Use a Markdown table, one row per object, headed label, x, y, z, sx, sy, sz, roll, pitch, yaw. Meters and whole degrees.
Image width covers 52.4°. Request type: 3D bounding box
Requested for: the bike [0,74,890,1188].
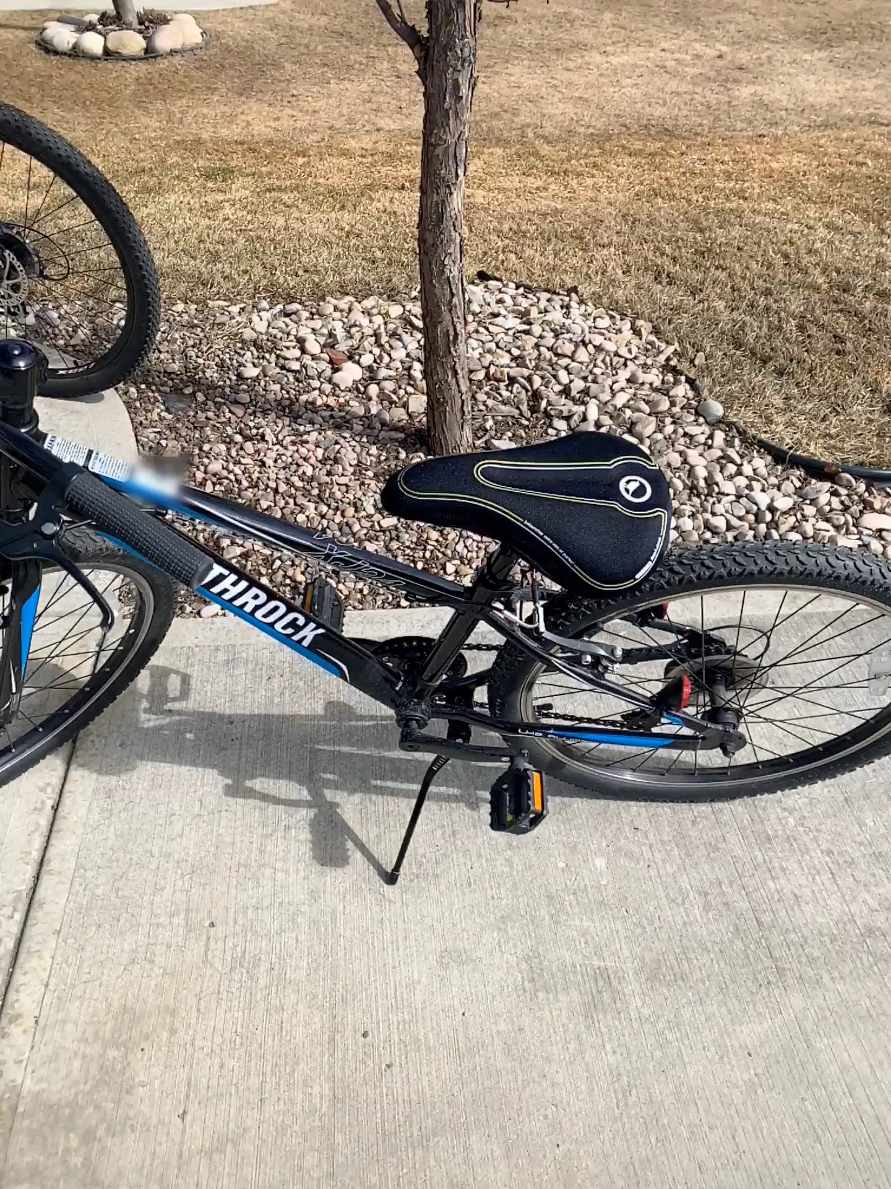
| label | x | y | z | sx | sy | sz | roll | pitch | yaw |
| --- | --- | --- | --- | --- | --- | --- | --- | --- | --- |
| bike | -0.129 | 0.117 | 0.960 | 1.389 | 0.885 | 0.517 | -7 | 41 | 0 |
